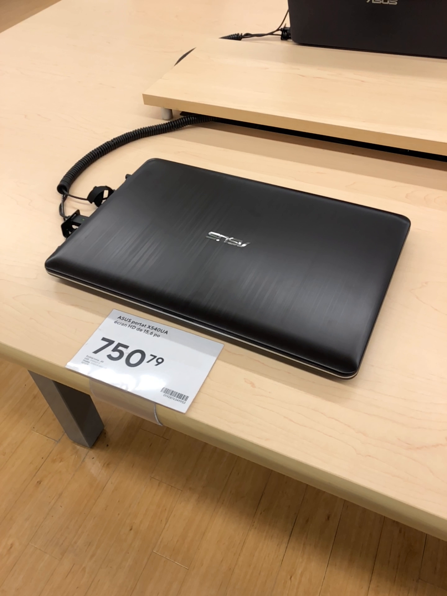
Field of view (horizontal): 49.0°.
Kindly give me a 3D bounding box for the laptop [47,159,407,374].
[{"bbox_3d":[0.005,-0.065,0.592,0.369,0.010,0.228,18,54,20],"label":"laptop"}]
